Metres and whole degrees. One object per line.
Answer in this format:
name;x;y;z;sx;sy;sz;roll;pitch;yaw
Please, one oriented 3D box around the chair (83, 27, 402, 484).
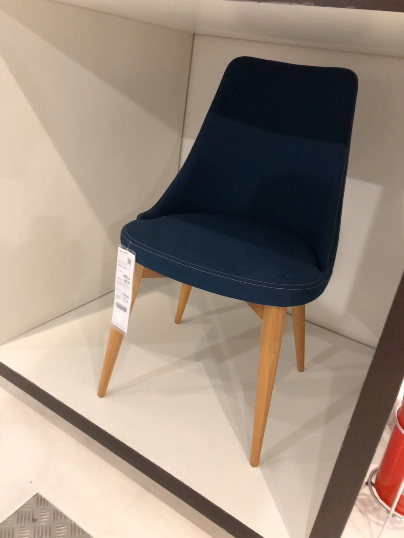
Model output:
chair;0.083;-0.072;1.127;0.521;0.863;0.523;18;26;21
